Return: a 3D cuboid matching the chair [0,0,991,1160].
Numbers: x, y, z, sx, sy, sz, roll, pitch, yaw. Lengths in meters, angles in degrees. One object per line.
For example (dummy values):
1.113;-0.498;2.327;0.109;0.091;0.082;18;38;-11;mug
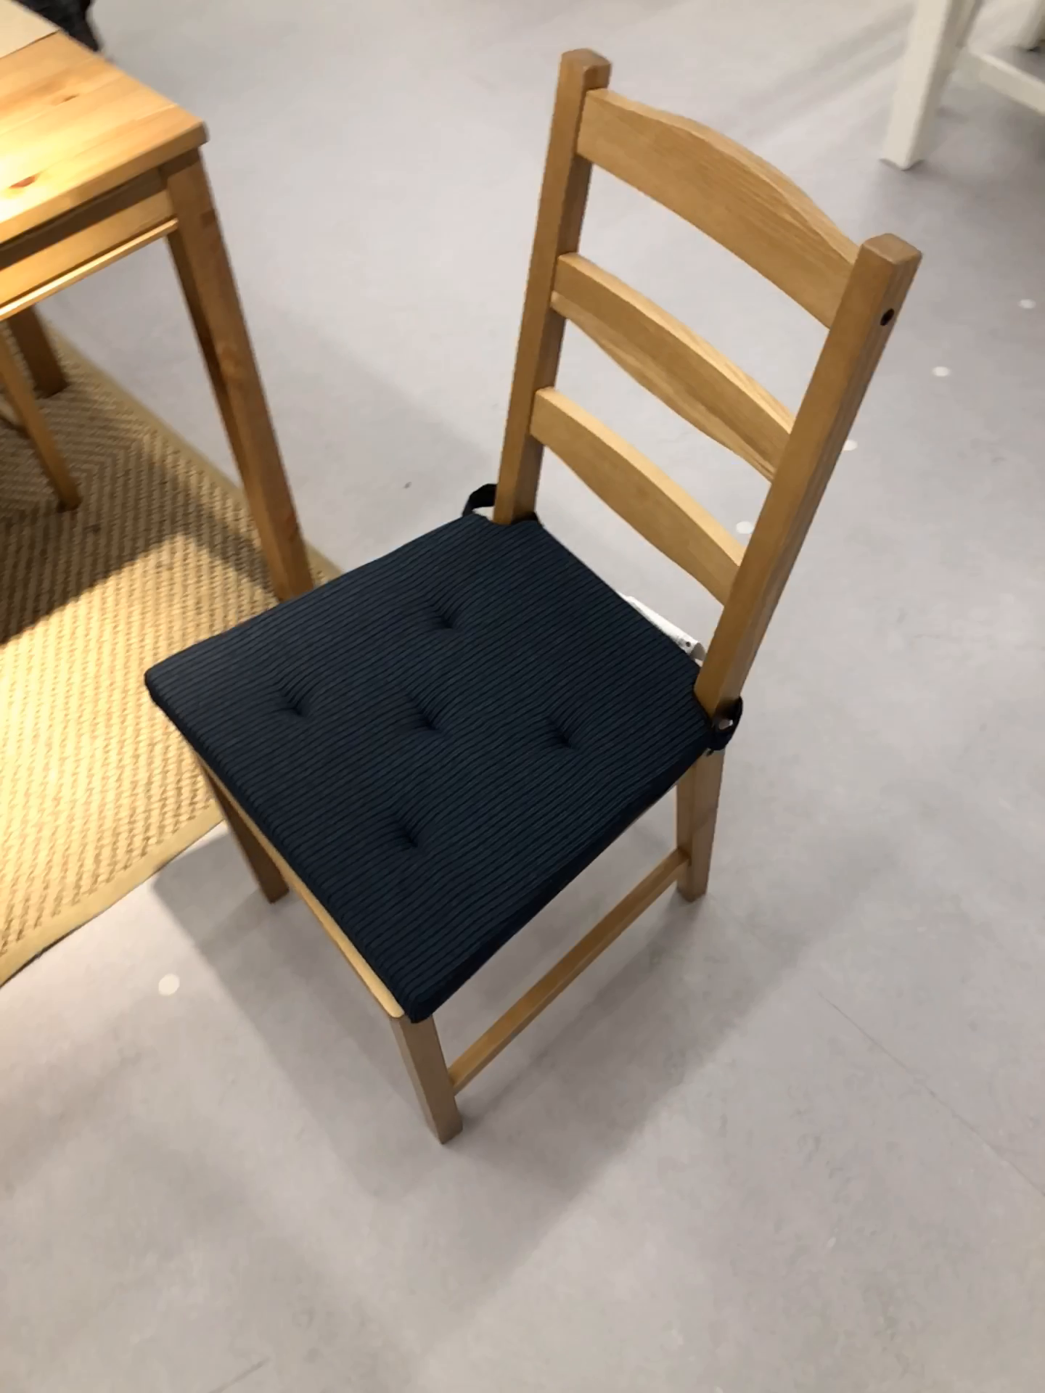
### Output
-0.045;-0.025;1.059;0.521;0.866;0.442;-36;62;-21;chair
